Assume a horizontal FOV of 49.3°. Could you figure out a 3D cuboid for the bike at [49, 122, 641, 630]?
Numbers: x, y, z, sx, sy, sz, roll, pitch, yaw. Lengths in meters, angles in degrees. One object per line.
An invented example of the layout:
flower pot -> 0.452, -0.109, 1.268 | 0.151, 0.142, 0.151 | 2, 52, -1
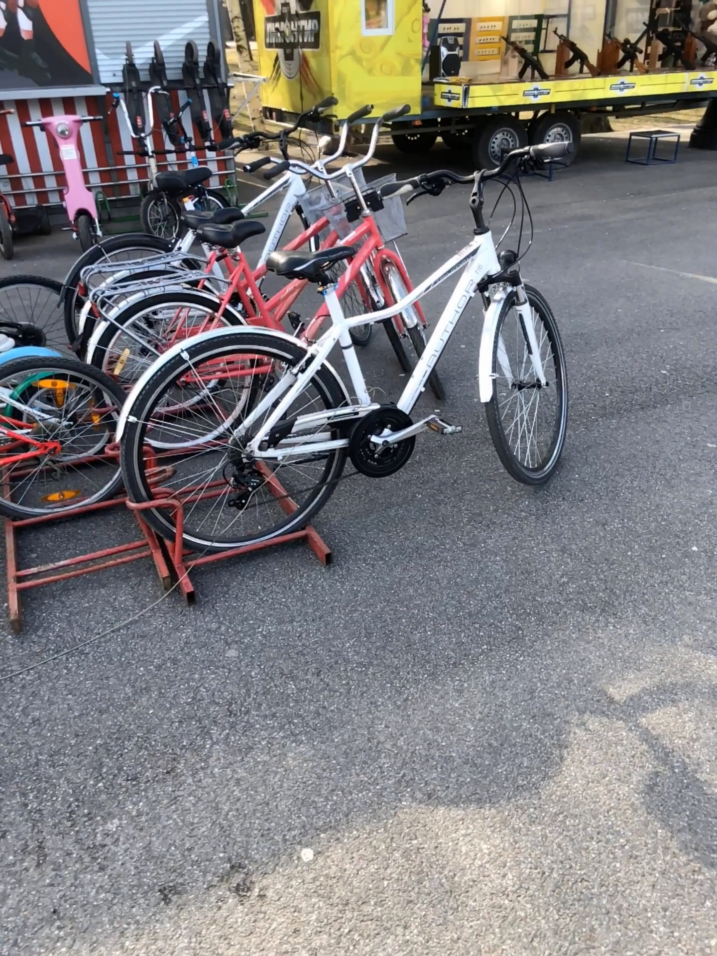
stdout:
bike -> 0.027, -0.453, 2.547 | 1.700, 1.111, 0.647 | -19, 34, -27
